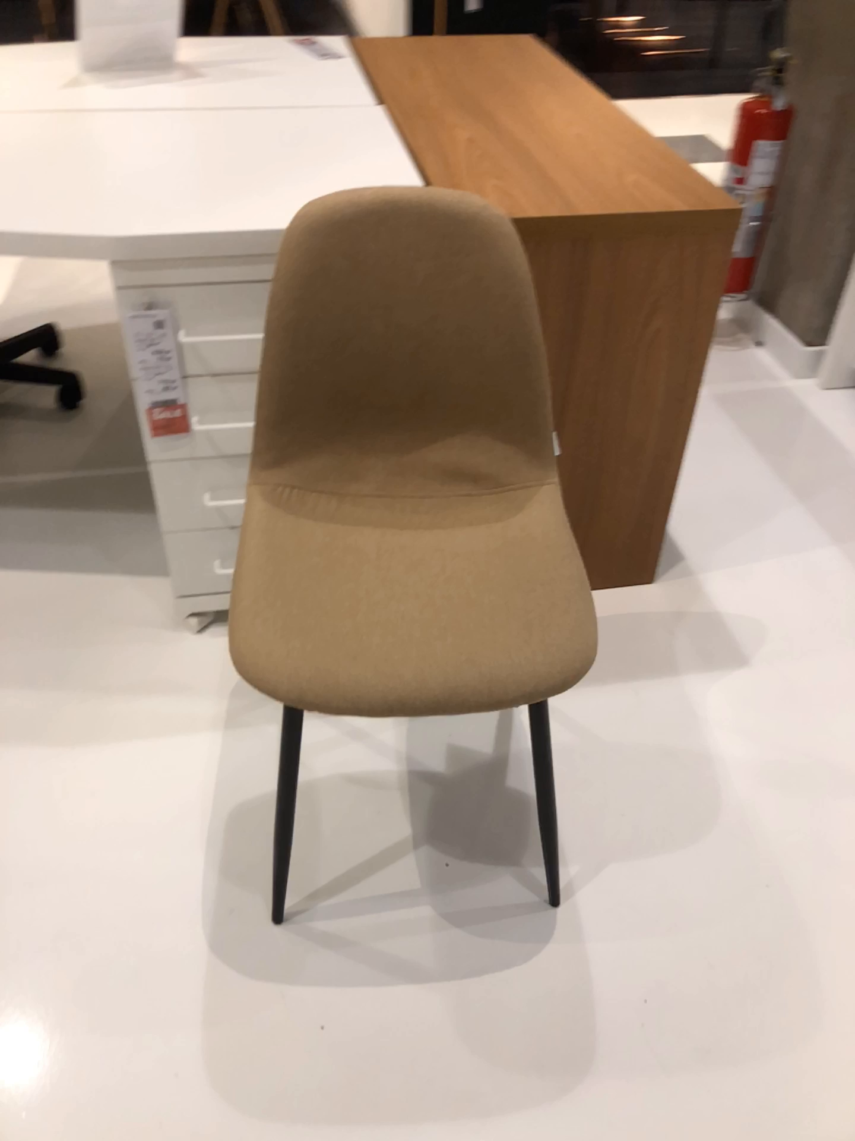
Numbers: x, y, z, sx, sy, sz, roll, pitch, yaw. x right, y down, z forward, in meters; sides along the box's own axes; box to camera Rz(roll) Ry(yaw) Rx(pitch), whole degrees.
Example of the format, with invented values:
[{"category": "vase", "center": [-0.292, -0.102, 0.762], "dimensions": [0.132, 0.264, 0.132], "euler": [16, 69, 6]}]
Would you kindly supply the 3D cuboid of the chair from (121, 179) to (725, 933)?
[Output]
[{"category": "chair", "center": [-0.027, -0.007, 1.193], "dimensions": [0.480, 0.784, 0.524], "euler": [-2, 39, -4]}]
